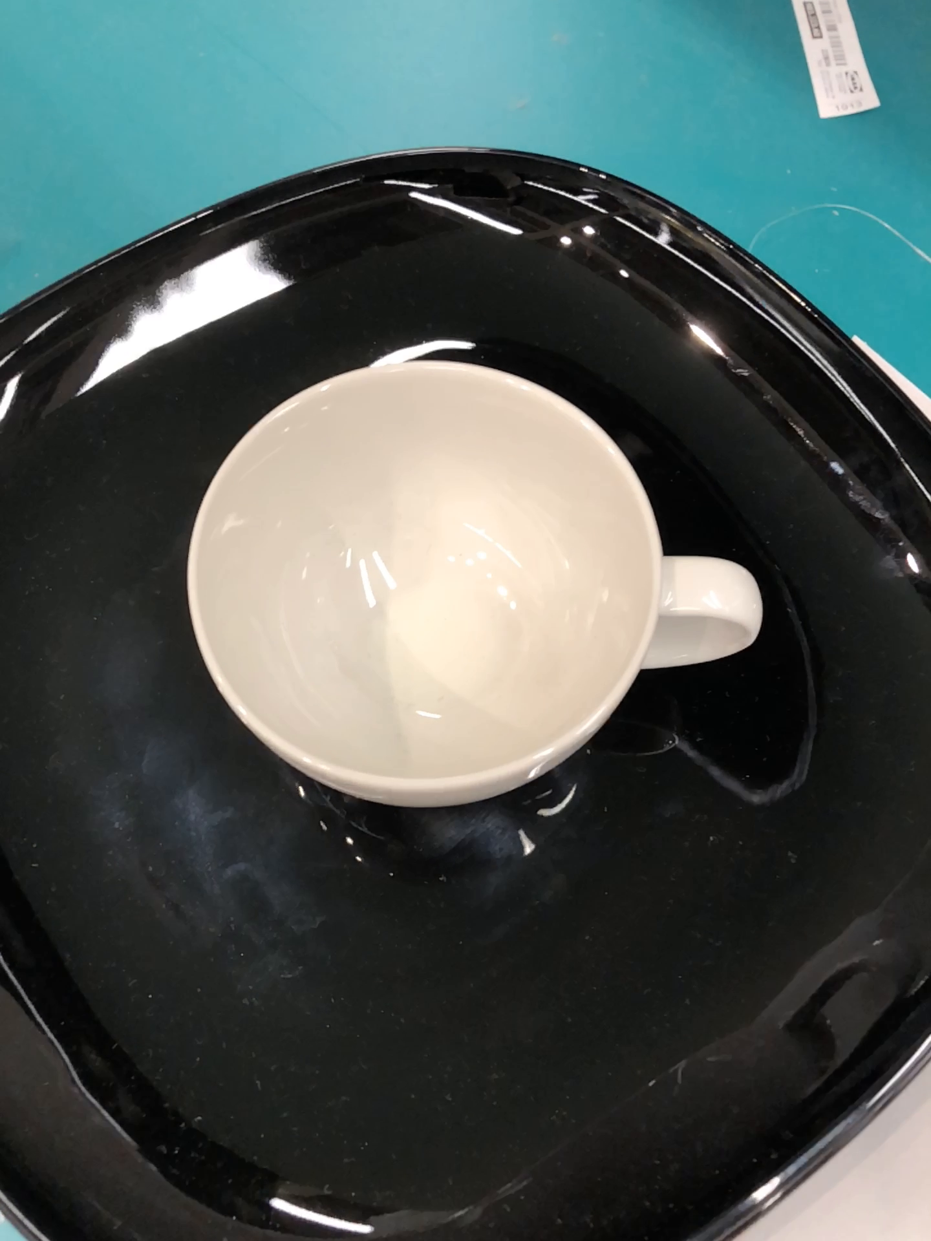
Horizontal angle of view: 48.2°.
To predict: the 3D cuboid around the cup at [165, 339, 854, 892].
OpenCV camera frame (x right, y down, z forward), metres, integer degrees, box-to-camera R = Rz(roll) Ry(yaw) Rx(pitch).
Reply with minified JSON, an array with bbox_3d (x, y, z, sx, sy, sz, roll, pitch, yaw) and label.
[{"bbox_3d":[0.004,-0.003,0.238,0.130,0.040,0.110,-5,64,-2],"label":"cup"}]
